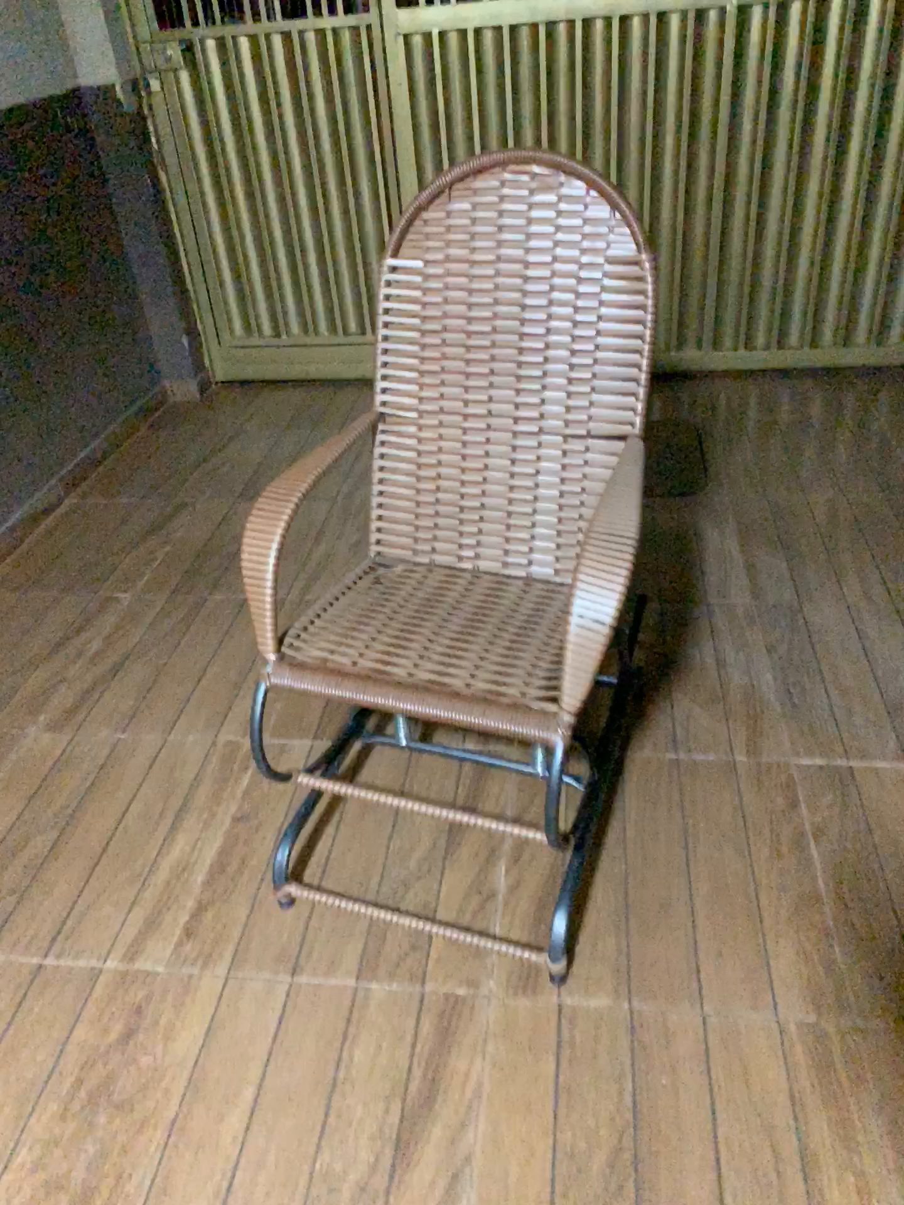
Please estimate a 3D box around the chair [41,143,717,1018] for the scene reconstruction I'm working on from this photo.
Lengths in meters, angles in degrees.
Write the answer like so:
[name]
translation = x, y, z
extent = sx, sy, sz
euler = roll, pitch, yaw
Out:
[chair]
translation = 0.018, -0.080, 1.477
extent = 0.599, 1.050, 0.786
euler = 9, 36, 20
